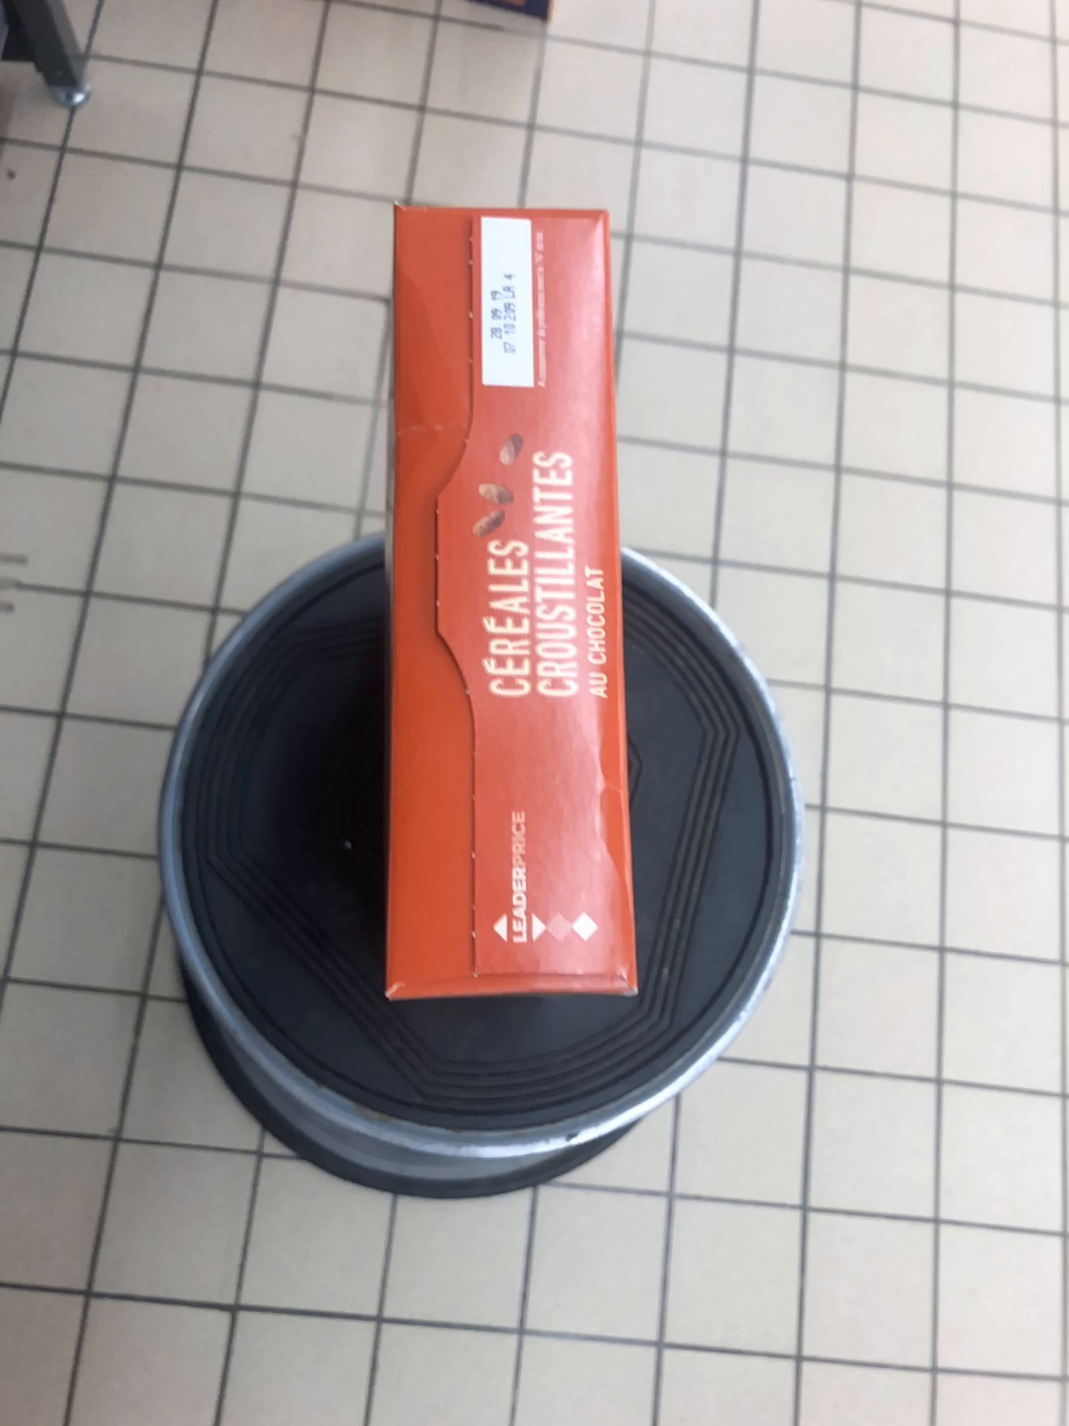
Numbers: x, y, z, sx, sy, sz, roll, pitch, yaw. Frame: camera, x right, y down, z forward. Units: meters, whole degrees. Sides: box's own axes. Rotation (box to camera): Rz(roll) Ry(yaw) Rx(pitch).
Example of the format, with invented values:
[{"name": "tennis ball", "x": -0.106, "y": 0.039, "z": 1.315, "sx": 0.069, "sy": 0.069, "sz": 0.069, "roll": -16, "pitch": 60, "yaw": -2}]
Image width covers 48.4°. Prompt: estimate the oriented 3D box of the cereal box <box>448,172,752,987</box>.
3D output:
[{"name": "cereal box", "x": 0.003, "y": -0.009, "z": 0.397, "sx": 0.060, "sy": 0.259, "sz": 0.190, "roll": 0, "pitch": 76, "yaw": -5}]
